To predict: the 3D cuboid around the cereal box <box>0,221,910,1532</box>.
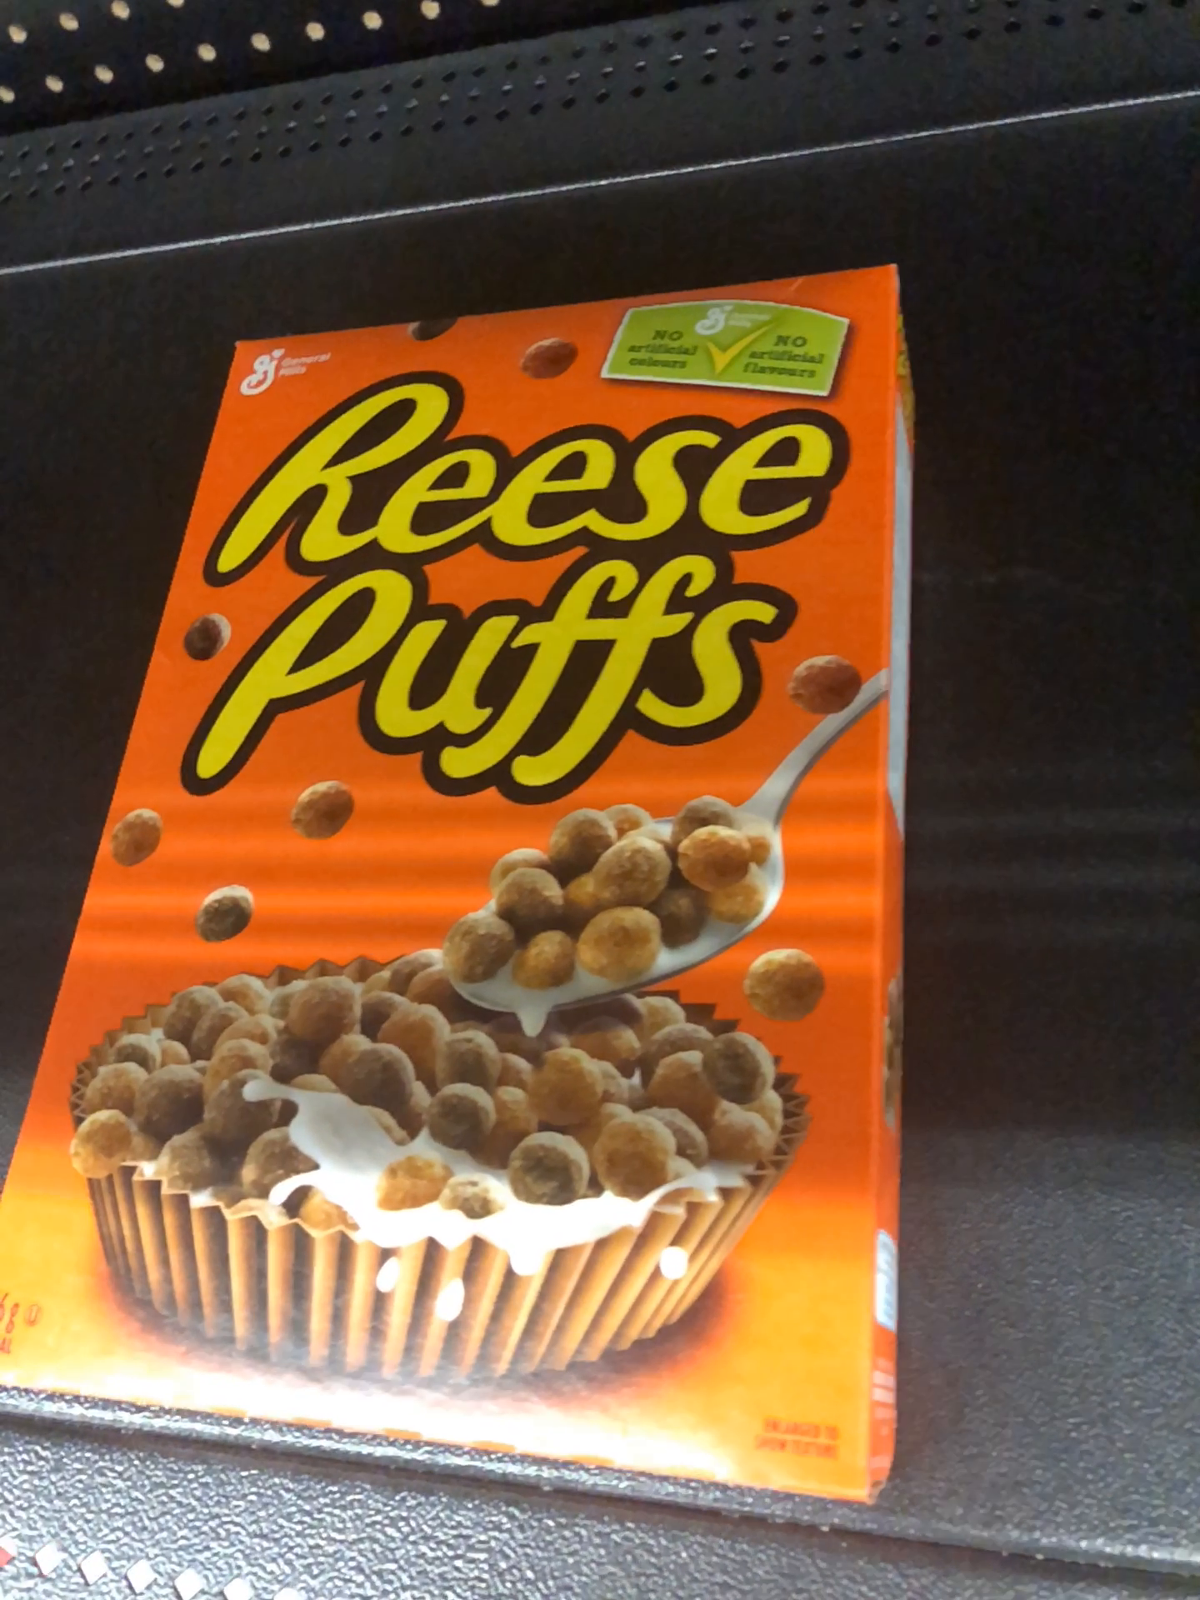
[{"bbox_3d":[-0.030,-0.002,0.325,0.200,0.050,0.291,-1,66,17],"label":"cereal box"}]
